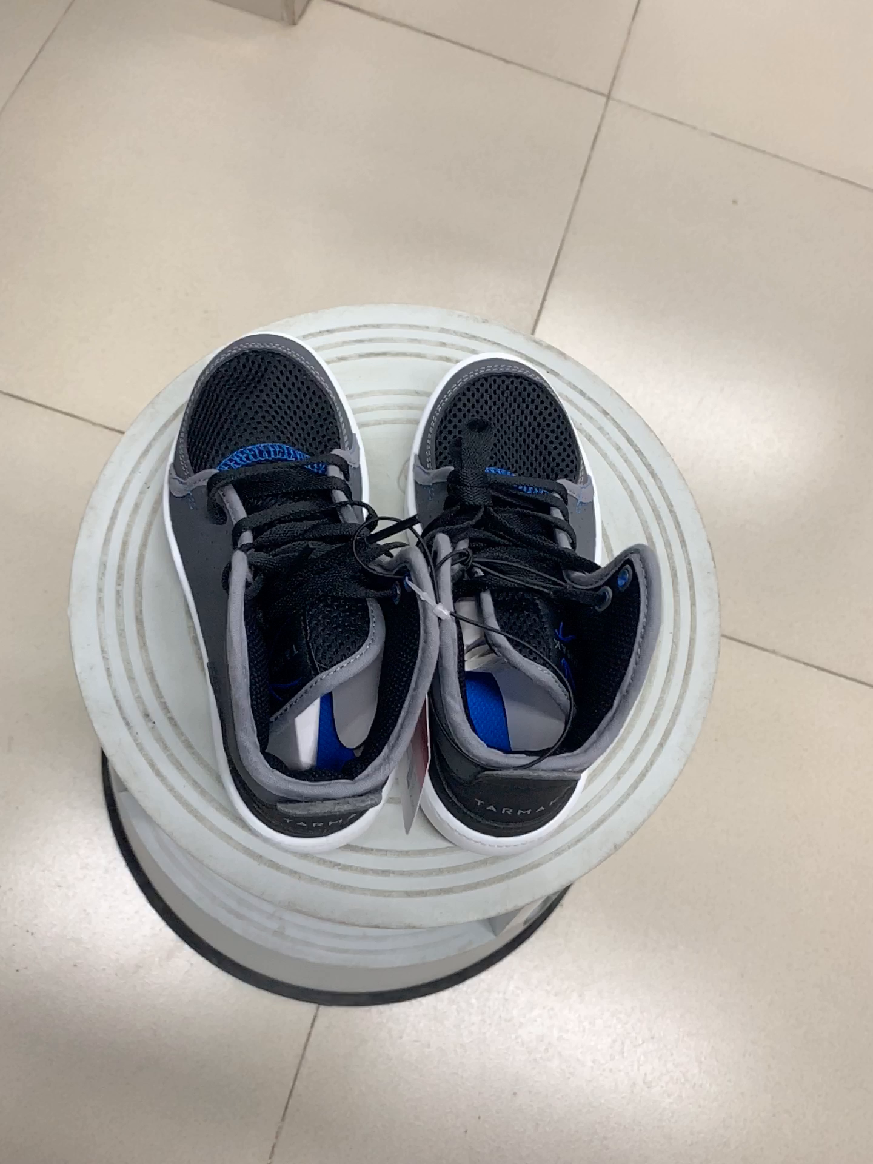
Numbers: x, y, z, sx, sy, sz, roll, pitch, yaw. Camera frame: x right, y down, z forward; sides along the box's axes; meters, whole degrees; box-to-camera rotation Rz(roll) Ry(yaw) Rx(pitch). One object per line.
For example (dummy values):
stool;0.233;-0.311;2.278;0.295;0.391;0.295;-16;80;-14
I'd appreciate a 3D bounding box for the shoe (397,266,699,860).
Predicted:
shoe;0.031;0.002;0.351;0.080;0.120;0.200;2;71;-7

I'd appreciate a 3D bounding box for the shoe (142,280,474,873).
shoe;-0.053;0.001;0.348;0.090;0.100;0.200;-6;72;-9
